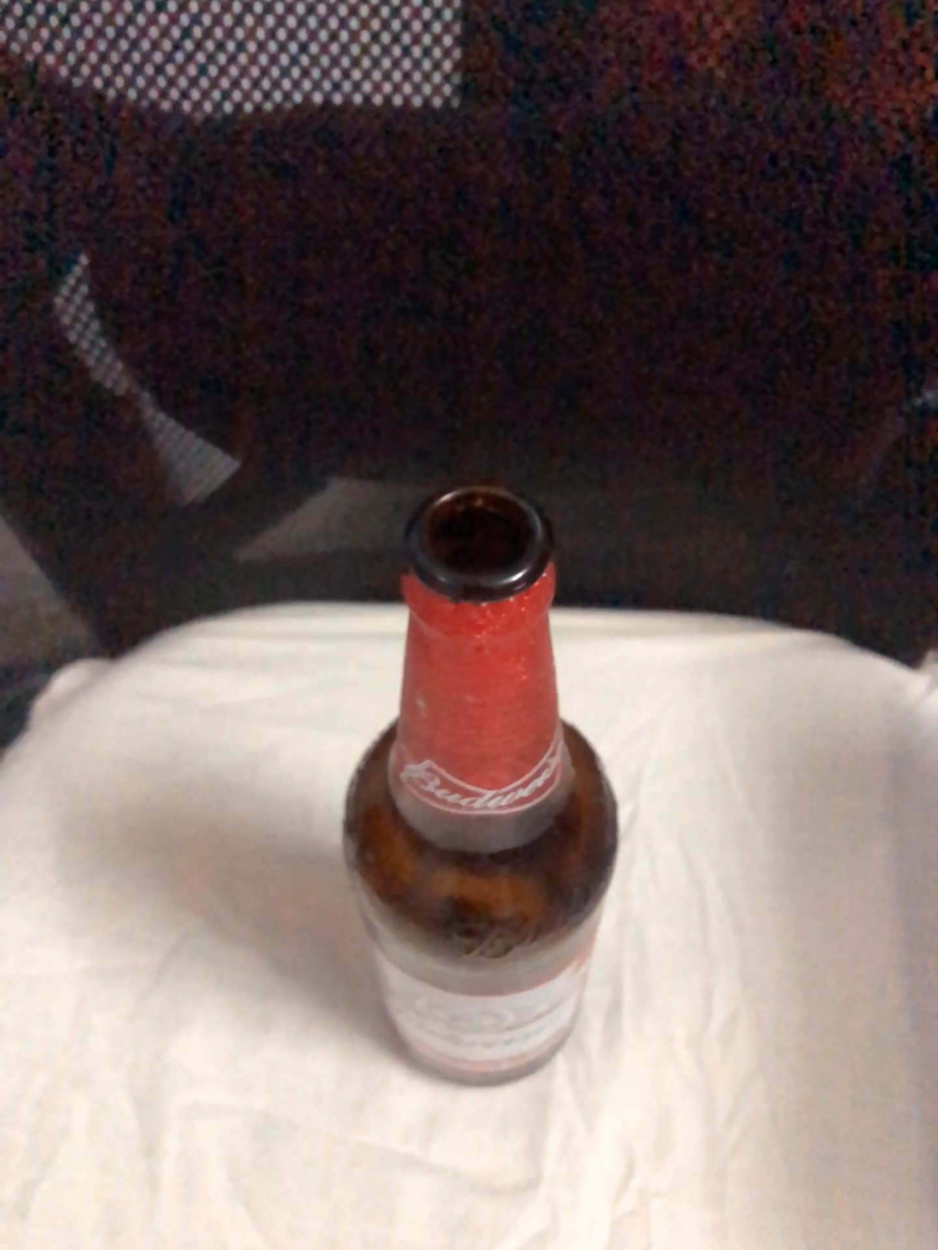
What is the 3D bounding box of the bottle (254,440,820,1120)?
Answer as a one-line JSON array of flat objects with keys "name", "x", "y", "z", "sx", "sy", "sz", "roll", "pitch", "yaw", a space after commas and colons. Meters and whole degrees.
[{"name": "bottle", "x": 0.008, "y": 0.071, "z": 0.282, "sx": 0.080, "sy": 0.269, "sz": 0.070, "roll": 1, "pitch": 57, "yaw": -1}]
